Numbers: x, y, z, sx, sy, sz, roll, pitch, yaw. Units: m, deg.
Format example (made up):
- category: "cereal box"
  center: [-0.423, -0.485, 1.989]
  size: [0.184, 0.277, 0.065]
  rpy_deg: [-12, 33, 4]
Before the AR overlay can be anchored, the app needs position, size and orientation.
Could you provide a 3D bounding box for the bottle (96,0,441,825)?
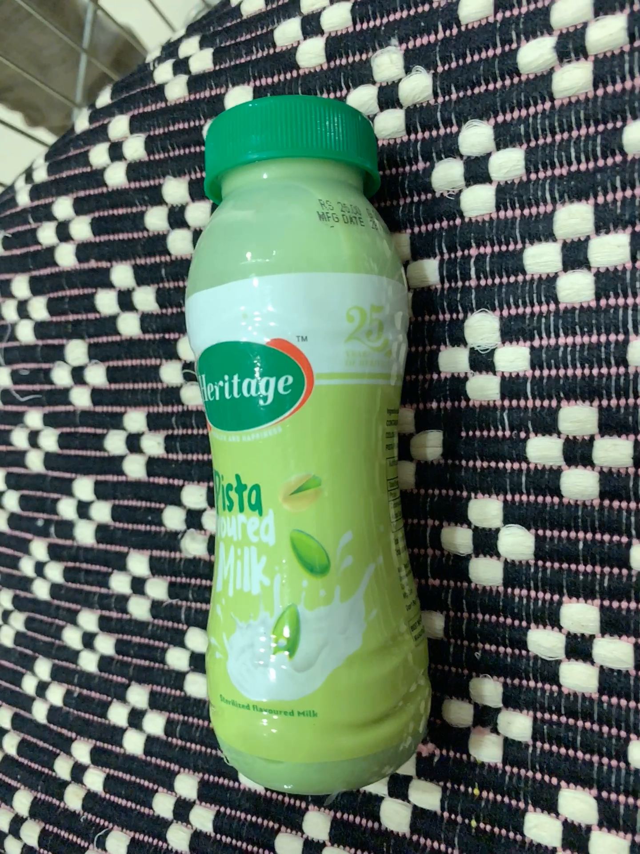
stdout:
- category: "bottle"
  center: [-0.009, -0.010, 0.144]
  size: [0.050, 0.050, 0.150]
  rpy_deg: [-4, 87, 28]
